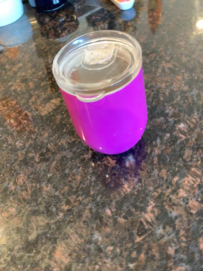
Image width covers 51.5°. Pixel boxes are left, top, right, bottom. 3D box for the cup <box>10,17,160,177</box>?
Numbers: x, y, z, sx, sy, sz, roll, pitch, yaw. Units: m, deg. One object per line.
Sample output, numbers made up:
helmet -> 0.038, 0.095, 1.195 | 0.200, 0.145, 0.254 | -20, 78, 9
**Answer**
cup -> -0.005, -0.036, 0.215 | 0.090, 0.110, 0.090 | -5, 55, 8
